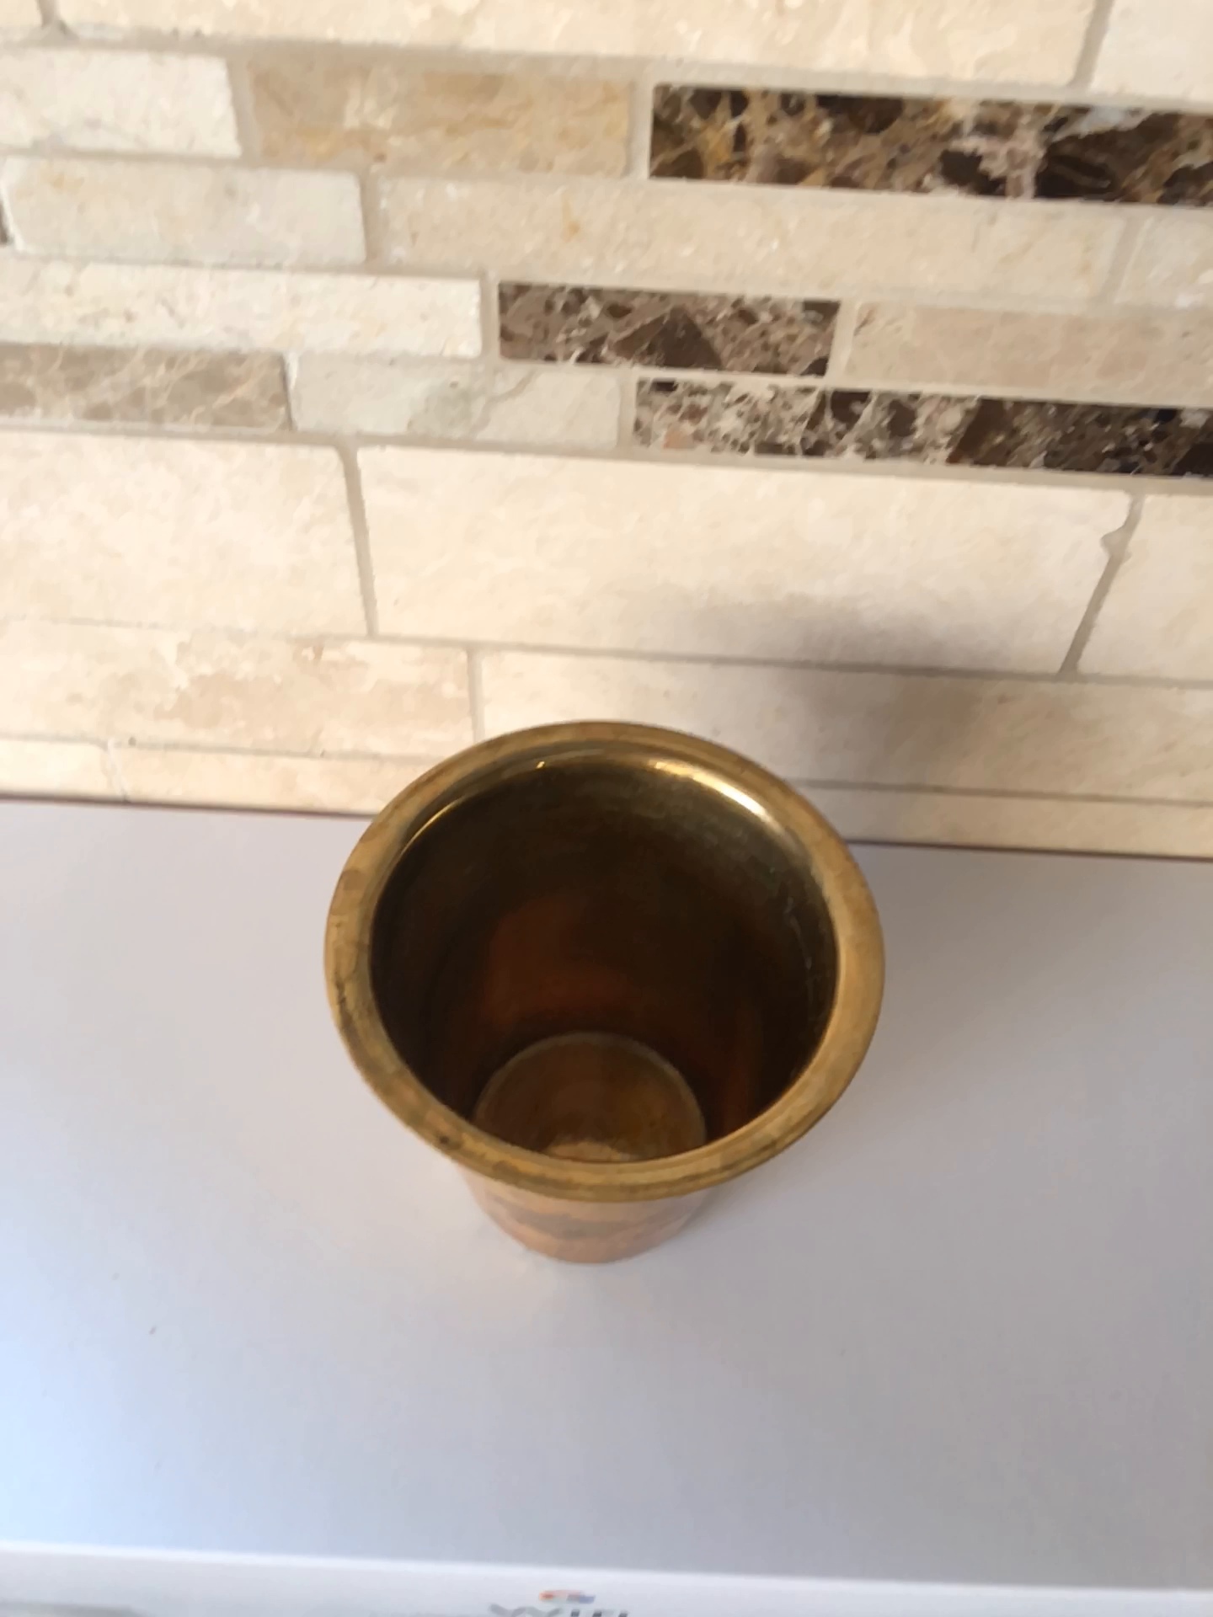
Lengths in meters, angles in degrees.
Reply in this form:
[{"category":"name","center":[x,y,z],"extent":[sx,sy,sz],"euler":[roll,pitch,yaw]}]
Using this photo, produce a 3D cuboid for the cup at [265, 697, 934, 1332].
[{"category":"cup","center":[-0.003,0.034,0.220],"extent":[0.083,0.072,0.075],"euler":[0,52,-3]}]
